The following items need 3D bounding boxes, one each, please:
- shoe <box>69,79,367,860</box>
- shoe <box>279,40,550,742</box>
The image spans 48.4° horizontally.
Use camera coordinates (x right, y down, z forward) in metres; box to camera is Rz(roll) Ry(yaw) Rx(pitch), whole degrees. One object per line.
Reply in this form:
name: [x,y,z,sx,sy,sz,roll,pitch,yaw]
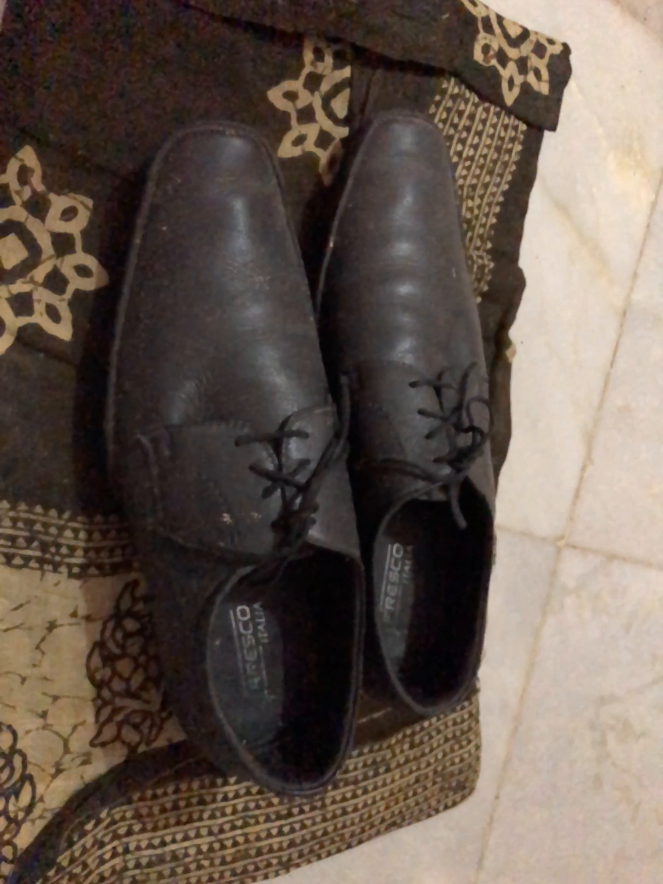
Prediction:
shoe: [-0.053,0.016,0.371,0.110,0.070,0.340,-7,100,-28]
shoe: [0.042,-0.021,0.414,0.110,0.070,0.340,-1,97,-29]
